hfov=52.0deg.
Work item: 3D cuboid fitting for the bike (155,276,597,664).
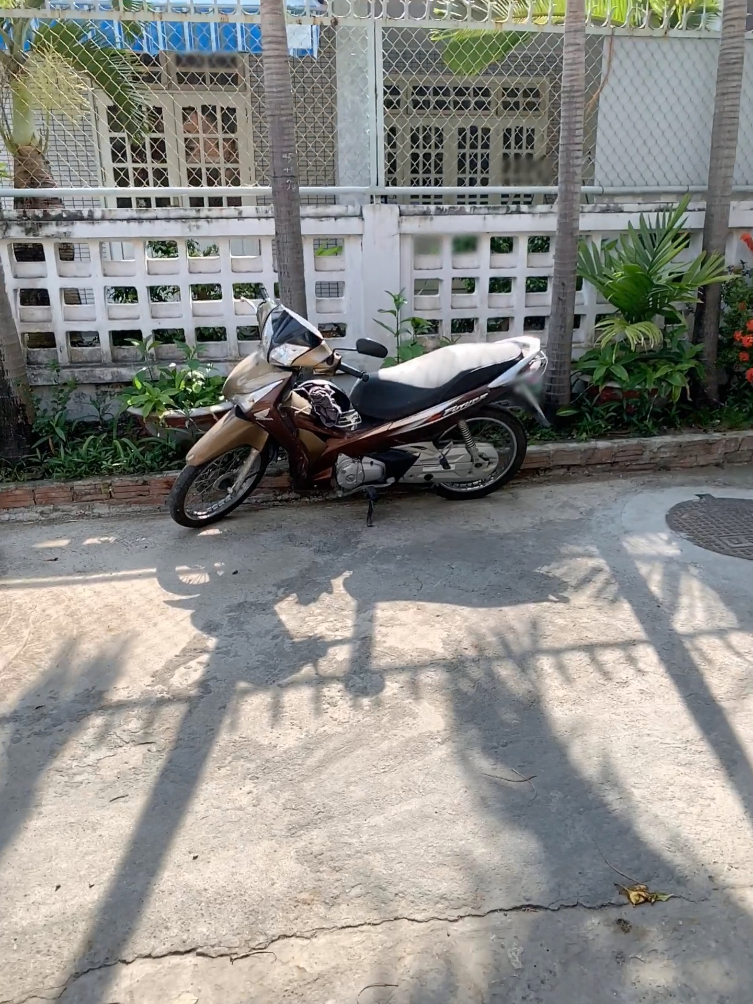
[{"bbox_3d":[0.032,-0.259,3.666,1.976,1.442,0.614,-9,21,-22],"label":"bike"}]
